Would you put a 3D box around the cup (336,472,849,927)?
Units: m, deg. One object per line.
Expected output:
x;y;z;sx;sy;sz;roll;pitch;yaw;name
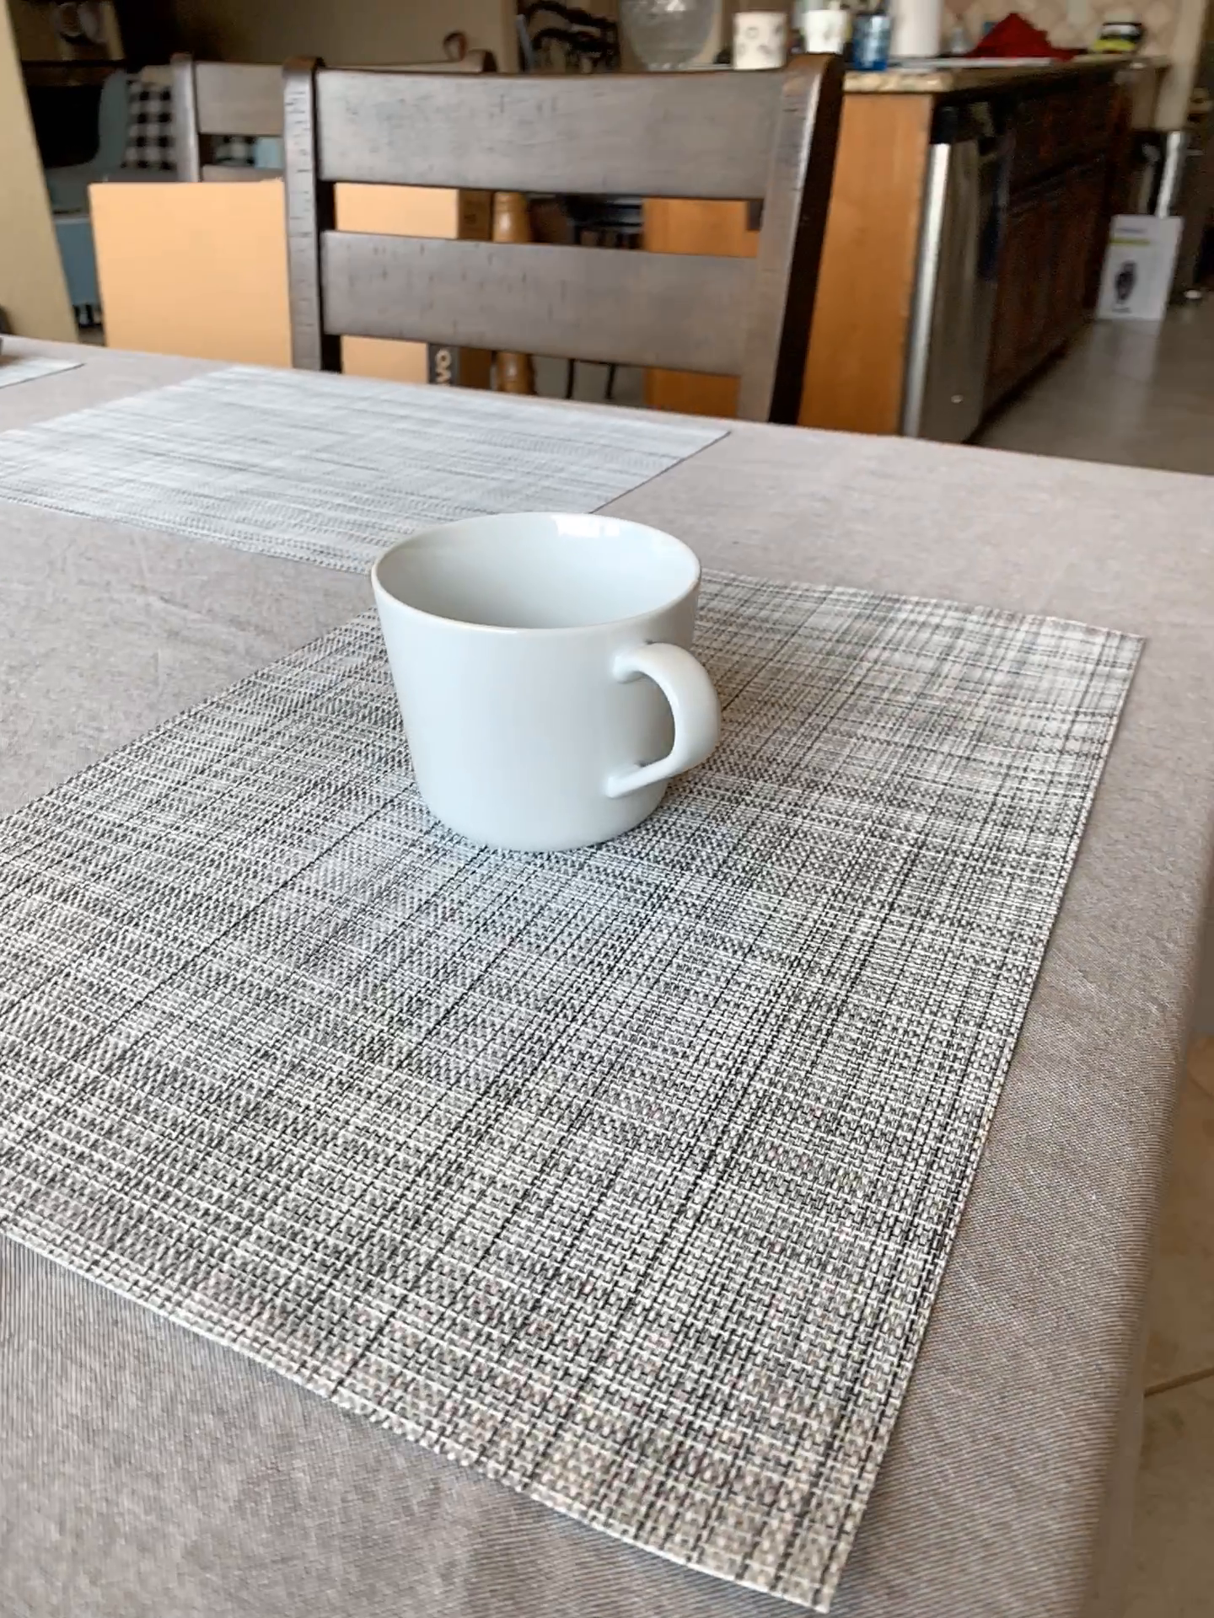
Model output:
-0.007;-0.043;0.395;0.100;0.081;0.122;-23;37;-32;cup
